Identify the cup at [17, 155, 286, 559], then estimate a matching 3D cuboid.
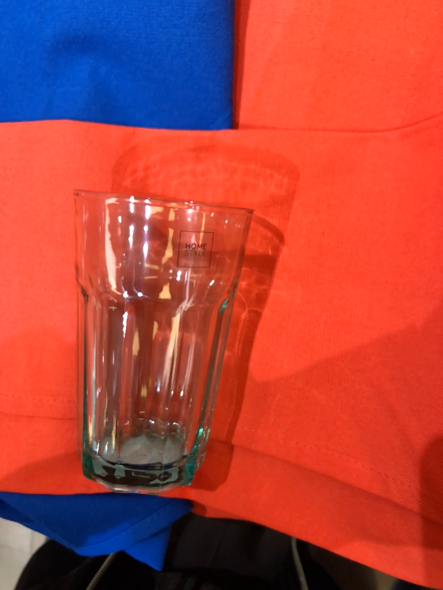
[{"bbox_3d":[-0.029,0.021,0.232,0.090,0.070,0.150,9,98,12],"label":"cup"}]
